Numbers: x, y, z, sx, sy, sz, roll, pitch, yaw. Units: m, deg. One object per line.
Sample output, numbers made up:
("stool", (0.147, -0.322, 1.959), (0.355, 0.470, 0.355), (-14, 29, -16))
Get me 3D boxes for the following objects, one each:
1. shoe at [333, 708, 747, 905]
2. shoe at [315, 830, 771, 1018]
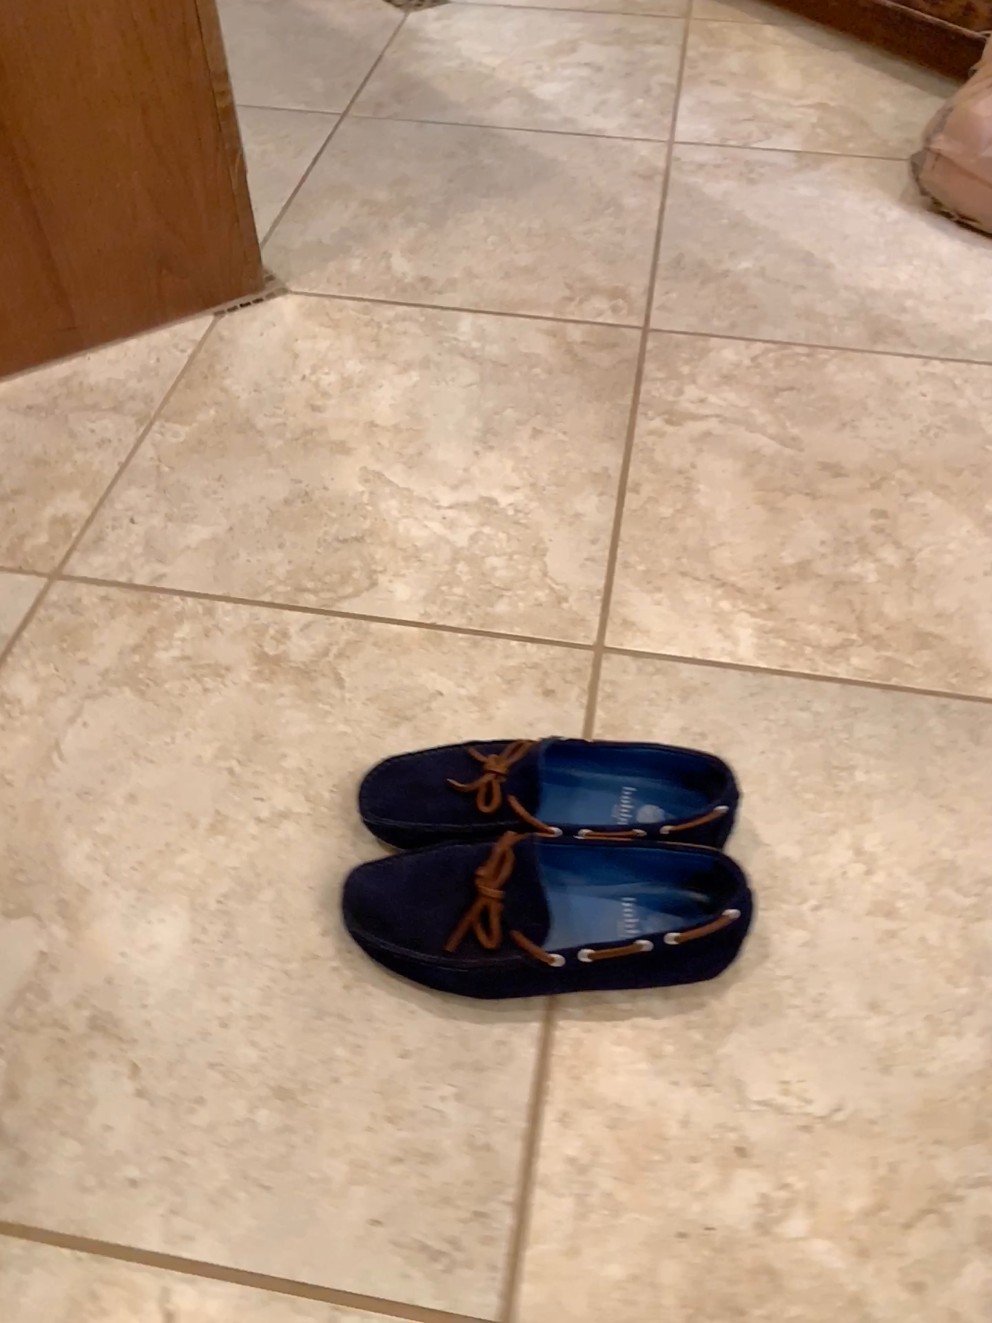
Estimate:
("shoe", (0.033, 0.106, 0.750), (0.281, 0.074, 0.099), (4, 50, 3))
("shoe", (0.029, 0.177, 0.687), (0.281, 0.074, 0.099), (0, 50, 0))
